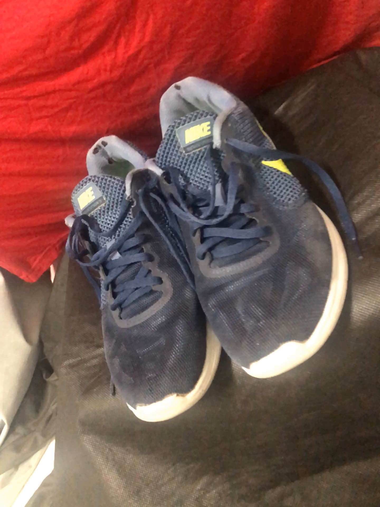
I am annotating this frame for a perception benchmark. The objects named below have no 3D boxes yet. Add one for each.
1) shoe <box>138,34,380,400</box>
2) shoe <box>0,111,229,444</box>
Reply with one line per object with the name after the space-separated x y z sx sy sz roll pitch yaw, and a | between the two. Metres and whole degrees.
0.035 -0.043 0.324 0.110 0.089 0.262 -28 46 22 | shoe
-0.059 0.011 0.343 0.110 0.099 0.232 -28 46 22 | shoe
